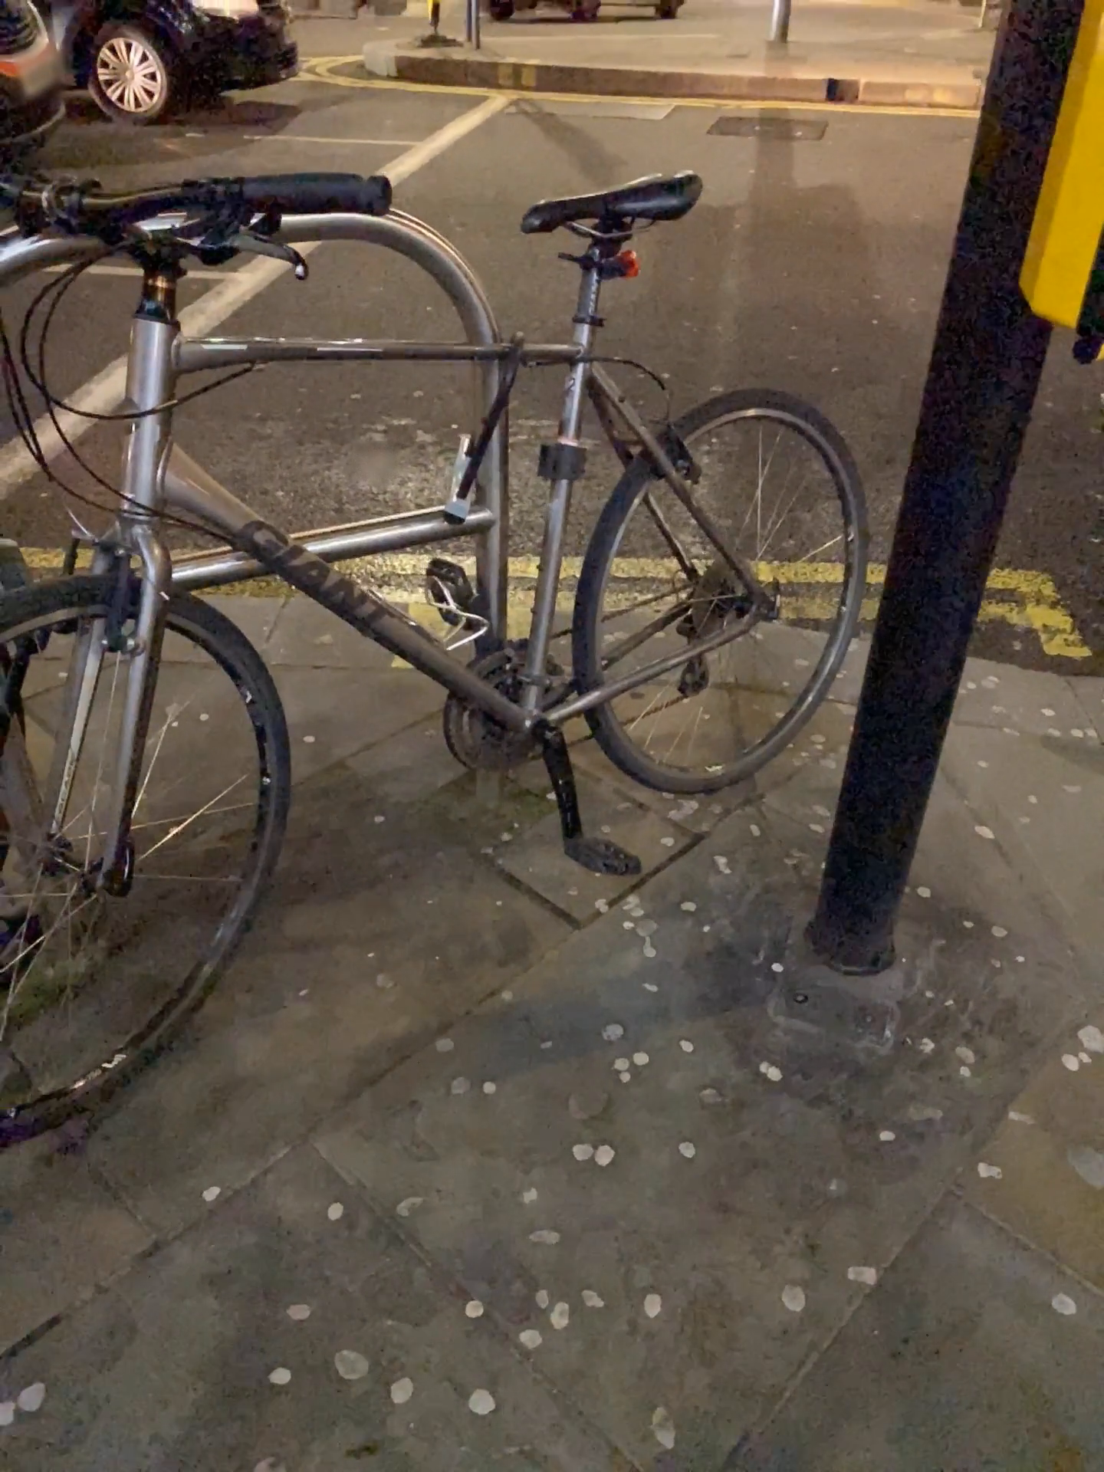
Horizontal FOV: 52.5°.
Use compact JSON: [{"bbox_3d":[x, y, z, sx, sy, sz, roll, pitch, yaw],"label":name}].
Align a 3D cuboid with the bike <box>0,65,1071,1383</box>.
[{"bbox_3d":[-0.180,-0.257,1.606,1.825,1.124,0.710,-27,44,-35],"label":"bike"}]
